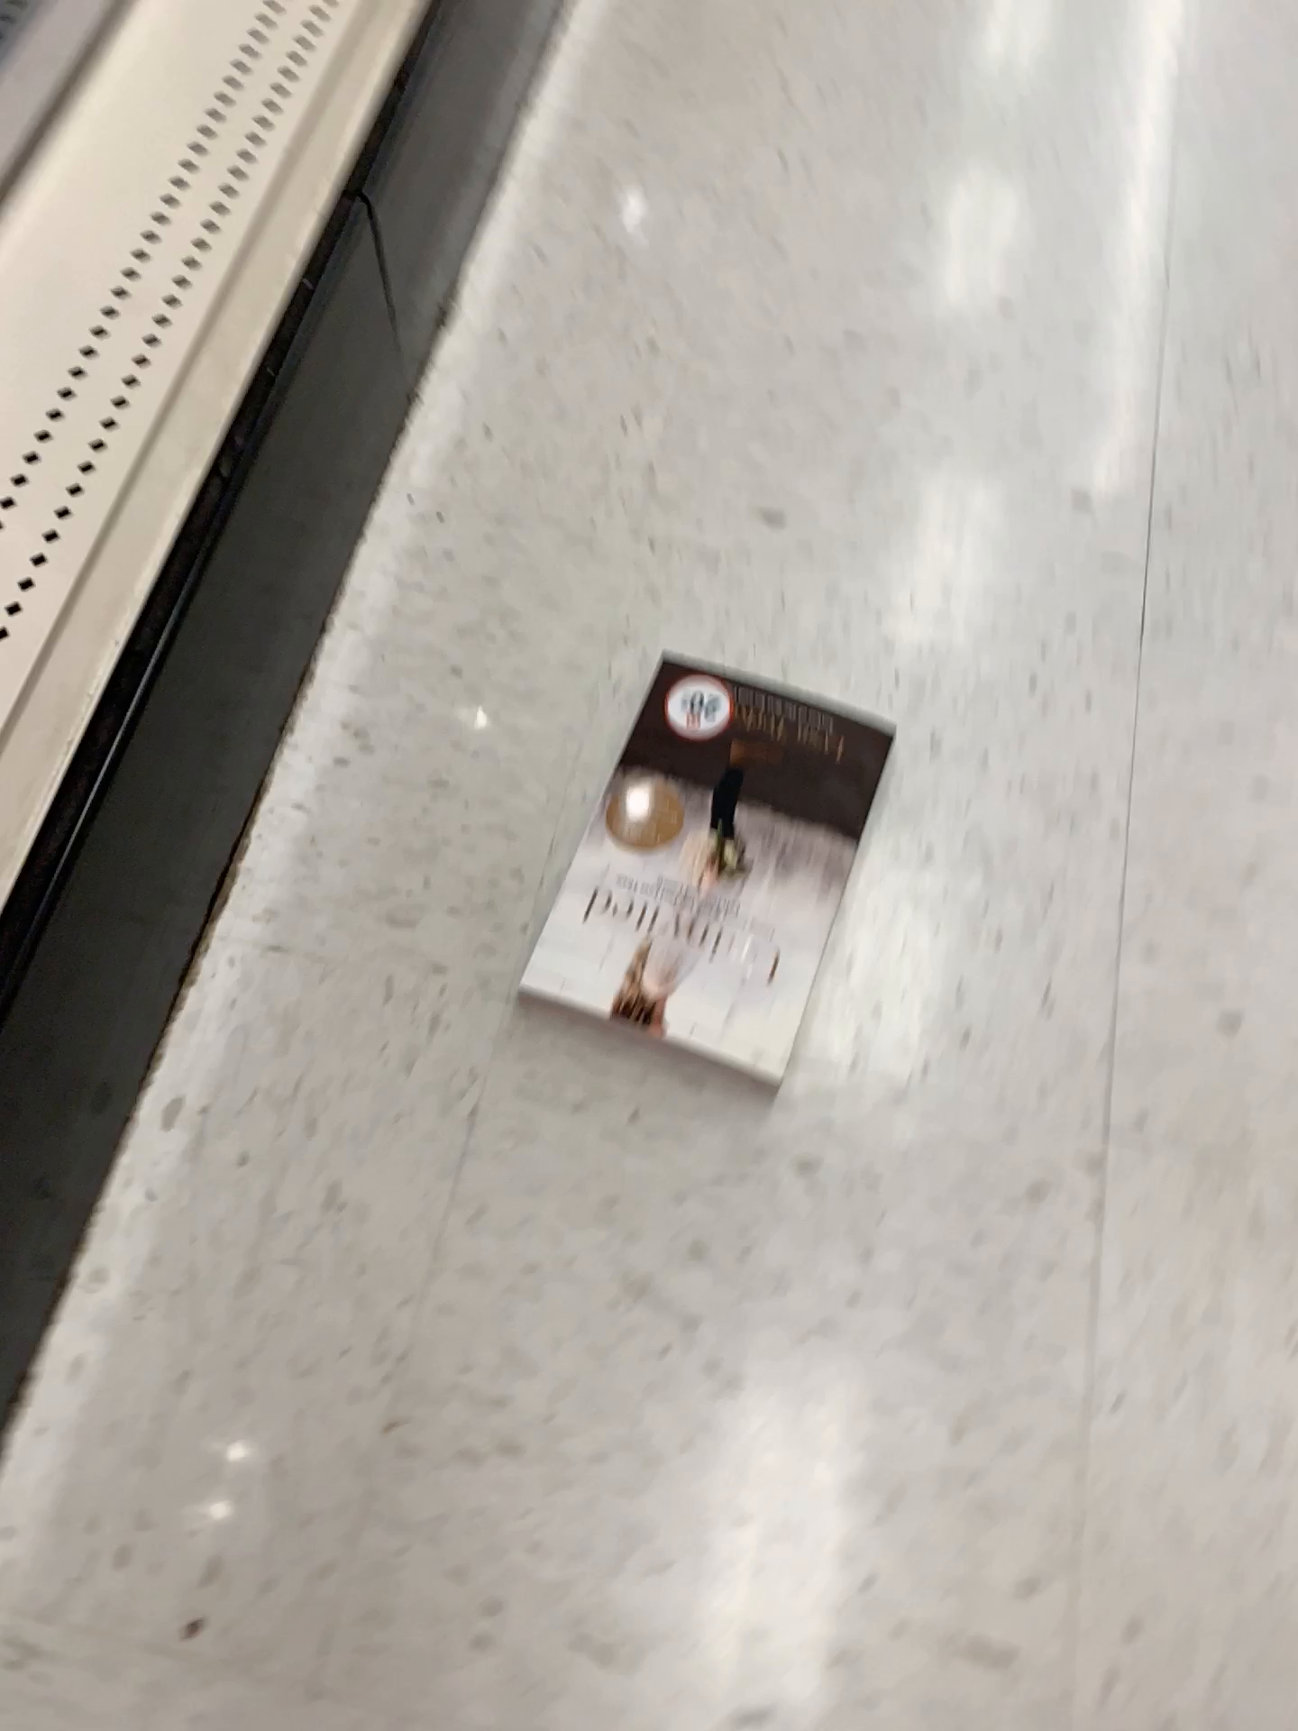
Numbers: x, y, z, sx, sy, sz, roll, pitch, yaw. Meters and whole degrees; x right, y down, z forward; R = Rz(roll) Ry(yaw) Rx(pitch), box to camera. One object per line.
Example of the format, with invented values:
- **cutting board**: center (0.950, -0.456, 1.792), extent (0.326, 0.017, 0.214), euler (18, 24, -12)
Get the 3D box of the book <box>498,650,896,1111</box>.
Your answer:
- **book**: center (0.029, 0.001, 0.676), extent (0.140, 0.030, 0.210), euler (18, 66, 7)
